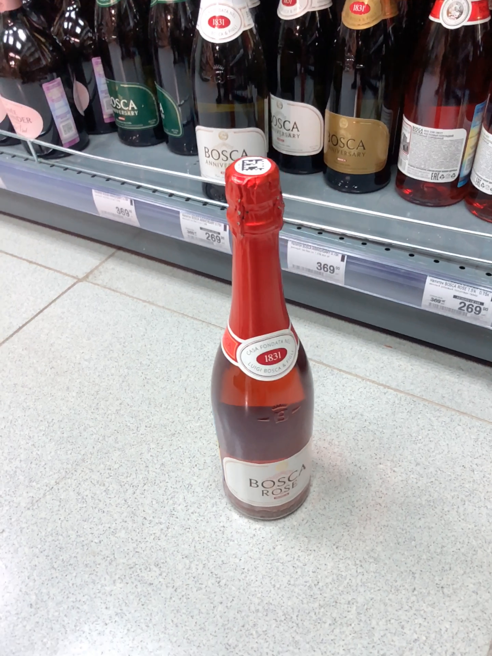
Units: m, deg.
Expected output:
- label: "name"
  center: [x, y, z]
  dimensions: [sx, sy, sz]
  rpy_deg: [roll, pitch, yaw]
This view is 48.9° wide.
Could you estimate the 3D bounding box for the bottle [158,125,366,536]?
- label: "bottle"
  center: [0.012, 0.025, 0.419]
  dimensions: [0.100, 0.317, 0.101]
  rpy_deg: [-2, 42, 2]
